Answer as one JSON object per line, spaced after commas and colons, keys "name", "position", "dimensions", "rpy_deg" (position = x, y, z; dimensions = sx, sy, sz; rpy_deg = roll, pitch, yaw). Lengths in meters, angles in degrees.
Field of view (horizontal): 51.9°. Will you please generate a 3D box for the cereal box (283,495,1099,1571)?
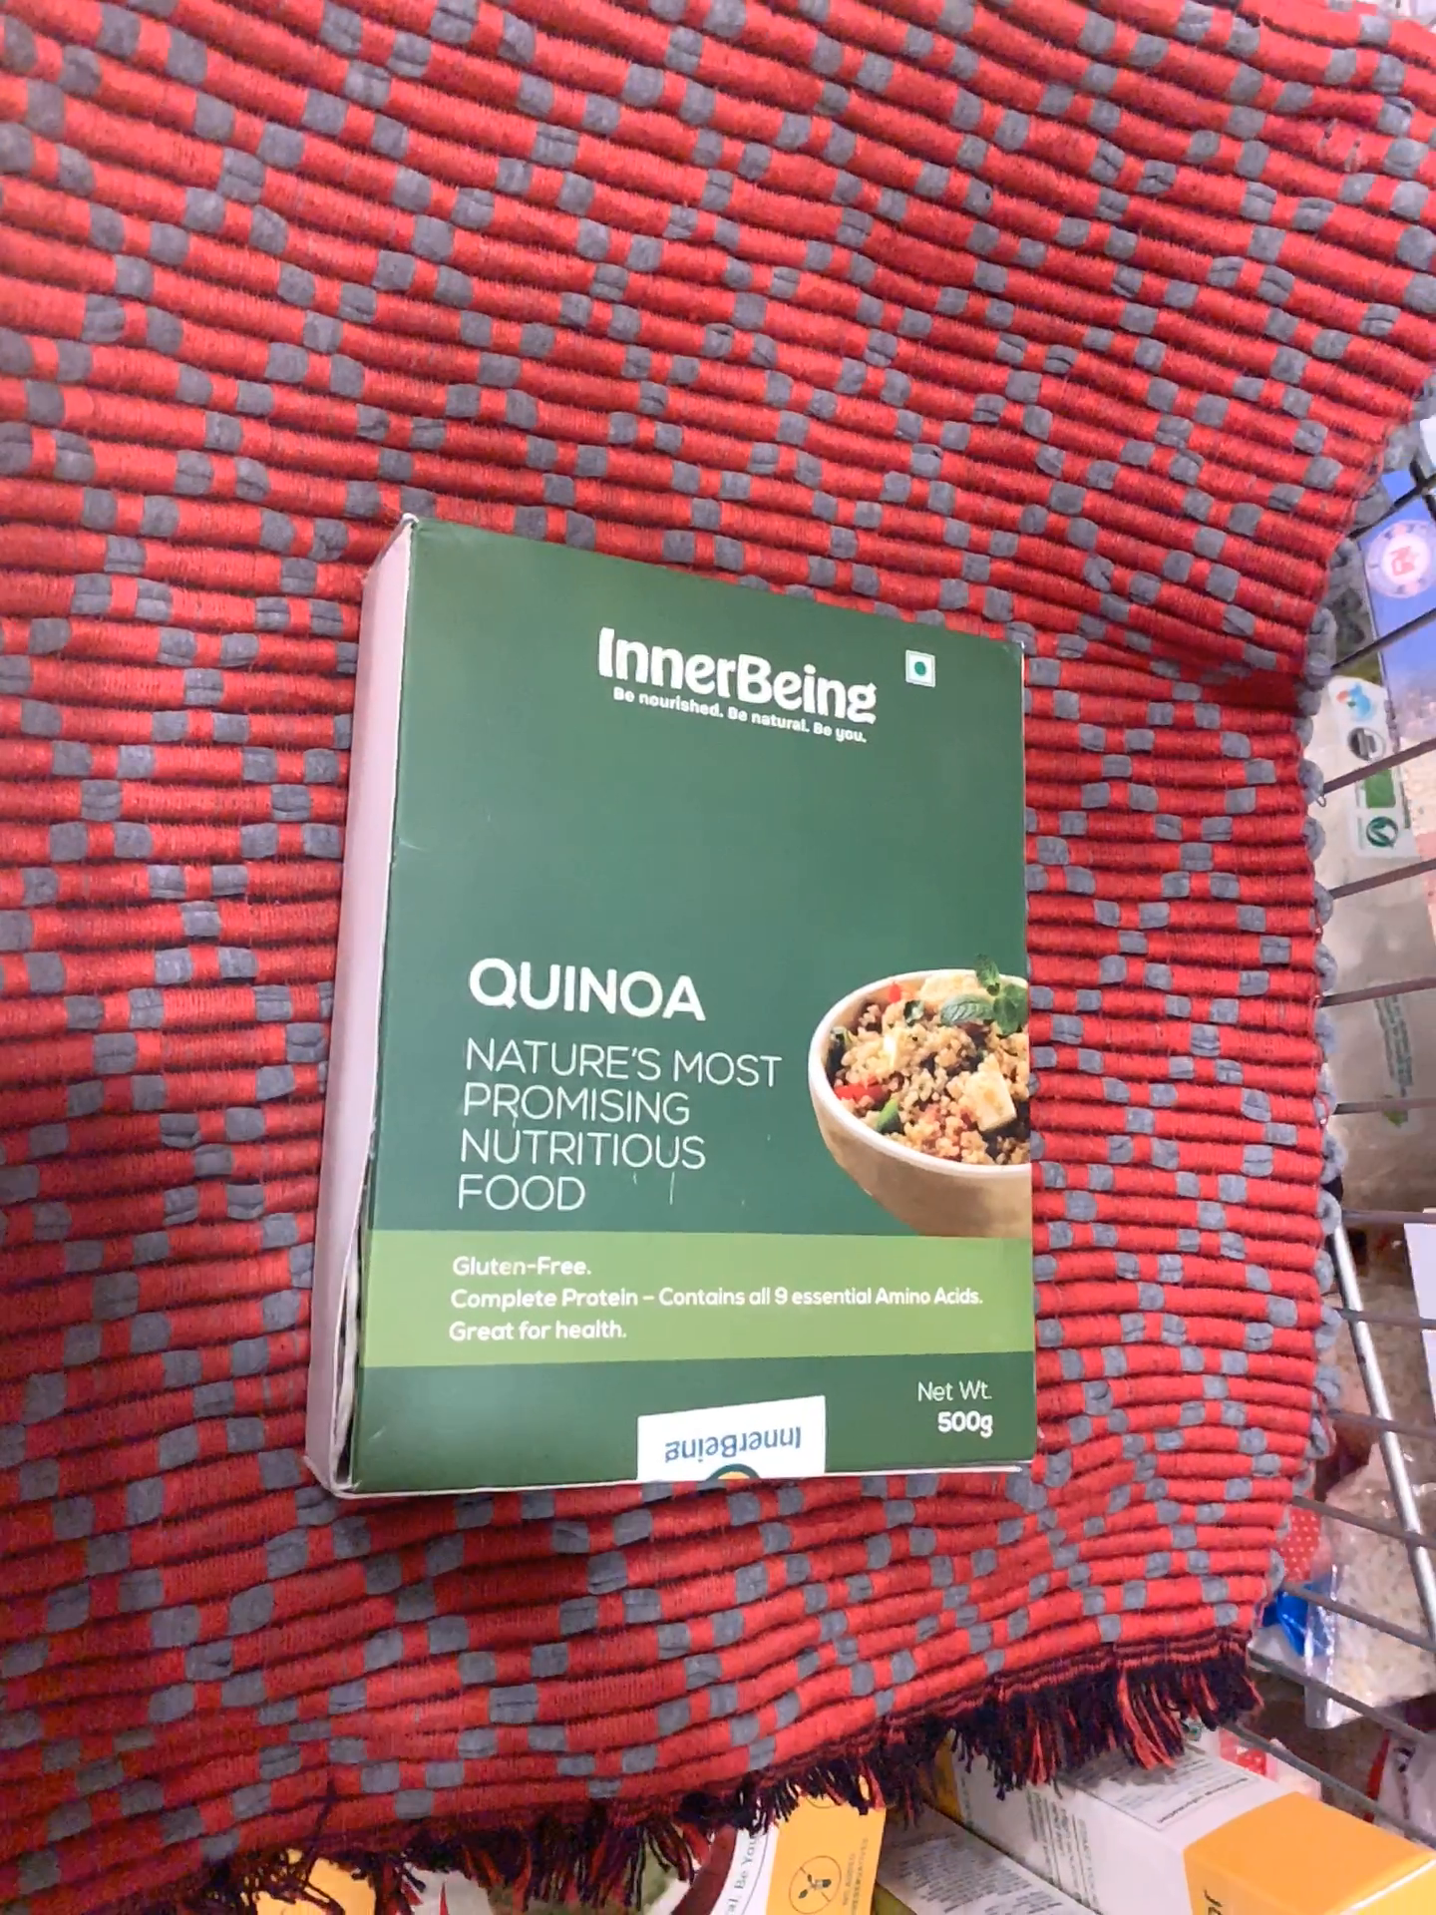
{"name": "cereal box", "position": [0.001, 0.017, 0.292], "dimensions": [0.150, 0.040, 0.180], "rpy_deg": [6, 81, -22]}
